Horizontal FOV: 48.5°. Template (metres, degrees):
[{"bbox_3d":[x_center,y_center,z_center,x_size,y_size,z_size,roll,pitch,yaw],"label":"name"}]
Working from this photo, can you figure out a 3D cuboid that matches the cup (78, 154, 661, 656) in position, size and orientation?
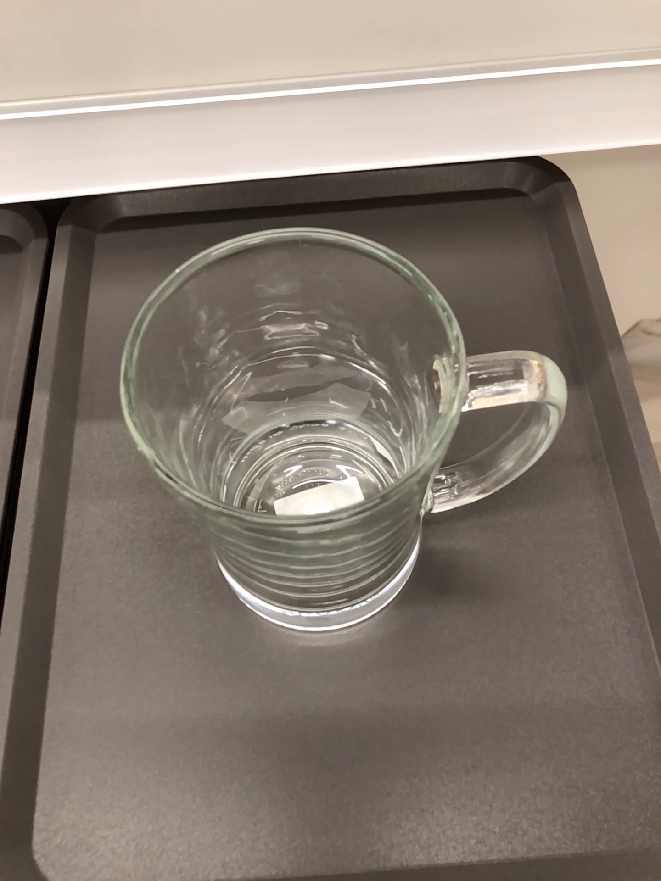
[{"bbox_3d":[0.010,-0.004,0.276,0.160,0.130,0.110,-11,63,-4],"label":"cup"}]
